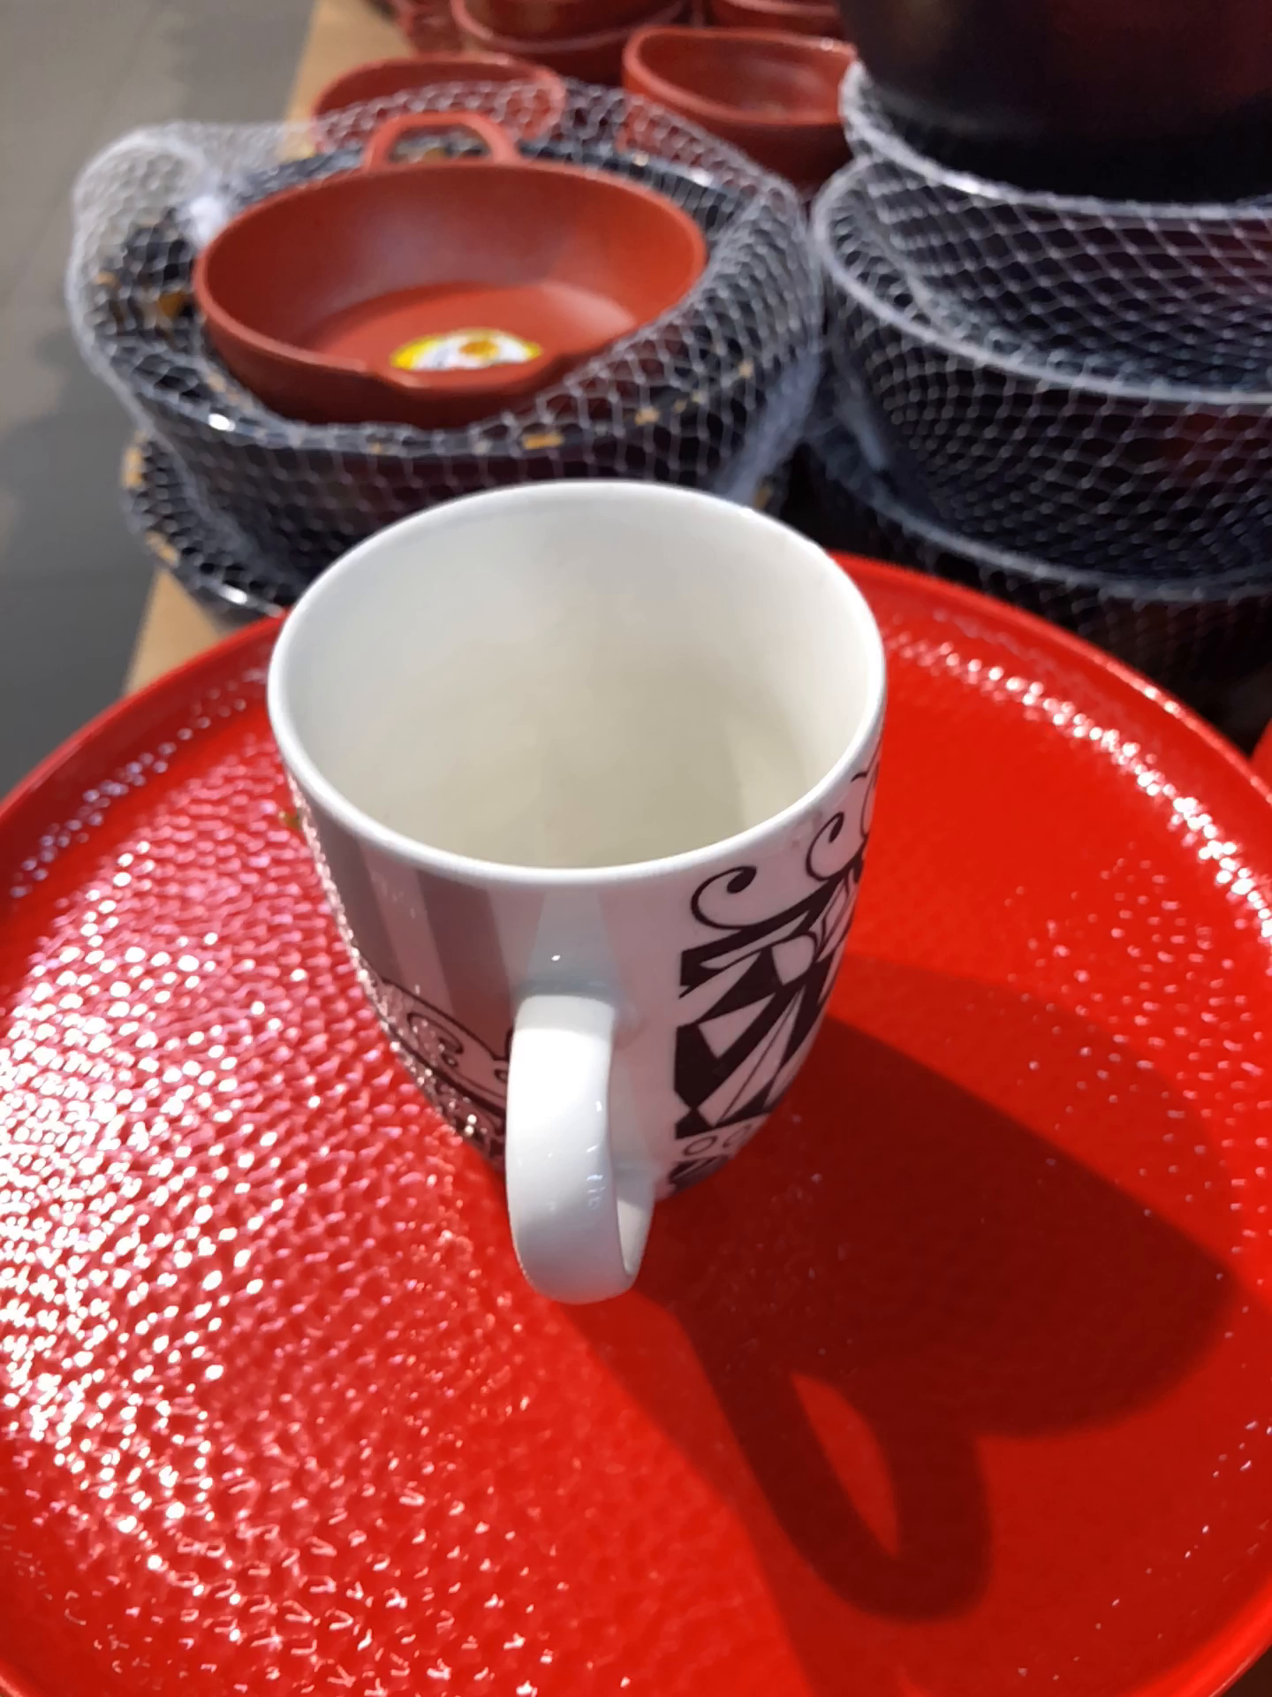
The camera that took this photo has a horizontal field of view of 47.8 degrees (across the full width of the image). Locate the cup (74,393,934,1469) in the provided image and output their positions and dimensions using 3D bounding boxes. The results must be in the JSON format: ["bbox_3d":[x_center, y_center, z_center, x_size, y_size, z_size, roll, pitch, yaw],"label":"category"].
[{"bbox_3d":[-0.010,0.009,0.211,0.080,0.099,0.121,1,46,2],"label":"cup"}]
